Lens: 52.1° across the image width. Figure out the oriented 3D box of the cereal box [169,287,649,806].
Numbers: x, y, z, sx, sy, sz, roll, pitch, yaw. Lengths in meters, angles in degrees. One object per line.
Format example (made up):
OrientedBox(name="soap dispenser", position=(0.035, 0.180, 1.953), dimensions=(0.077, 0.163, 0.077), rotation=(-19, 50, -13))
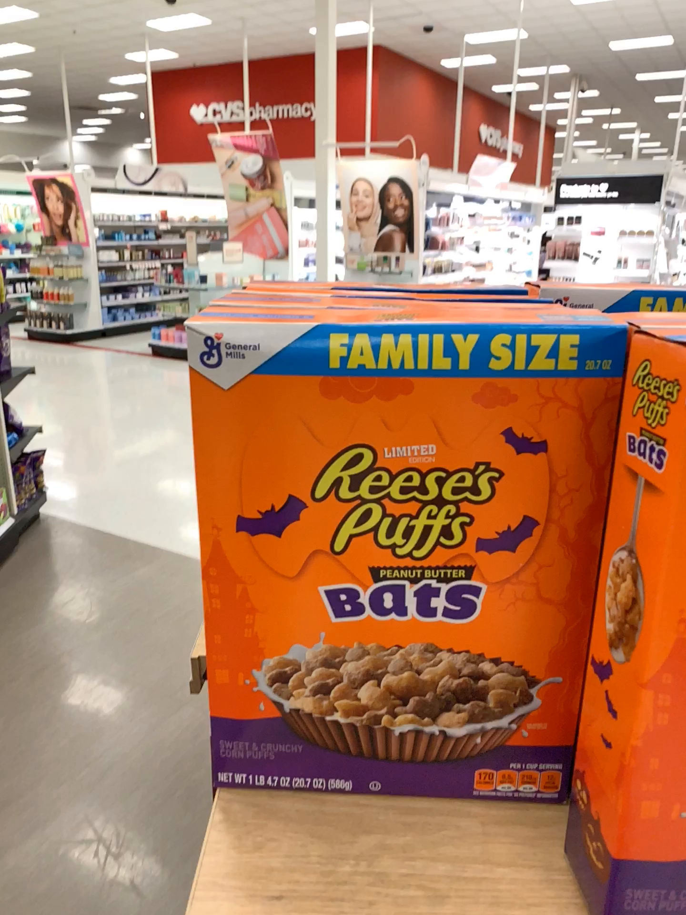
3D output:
OrientedBox(name="cereal box", position=(0.032, 0.058, 0.433), dimensions=(0.240, 0.309, 0.070), rotation=(1, 18, 3))
